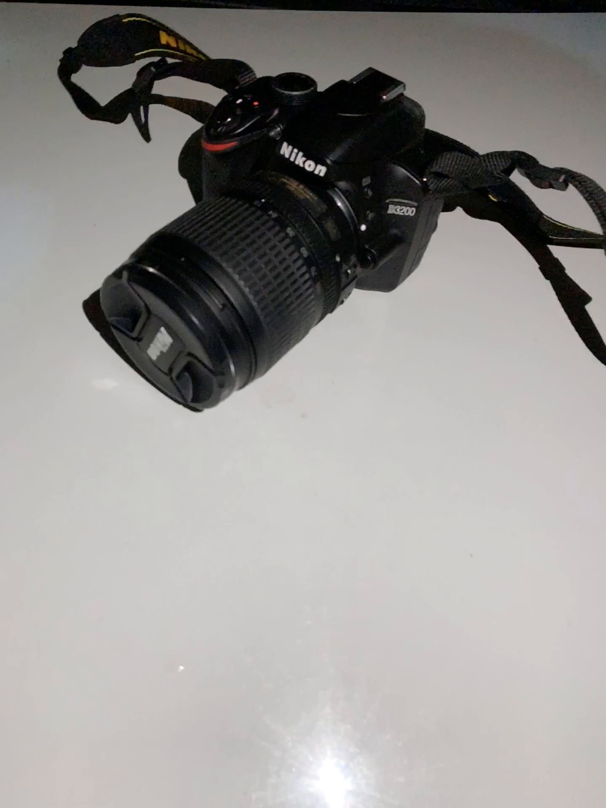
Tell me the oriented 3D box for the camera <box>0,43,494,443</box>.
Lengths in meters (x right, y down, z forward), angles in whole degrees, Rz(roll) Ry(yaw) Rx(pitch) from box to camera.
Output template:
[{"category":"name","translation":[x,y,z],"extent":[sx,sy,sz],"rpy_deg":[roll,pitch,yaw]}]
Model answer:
[{"category":"camera","translation":[-0.018,-0.100,0.320],"extent":[0.126,0.099,0.201],"rpy_deg":[32,51,27]}]
